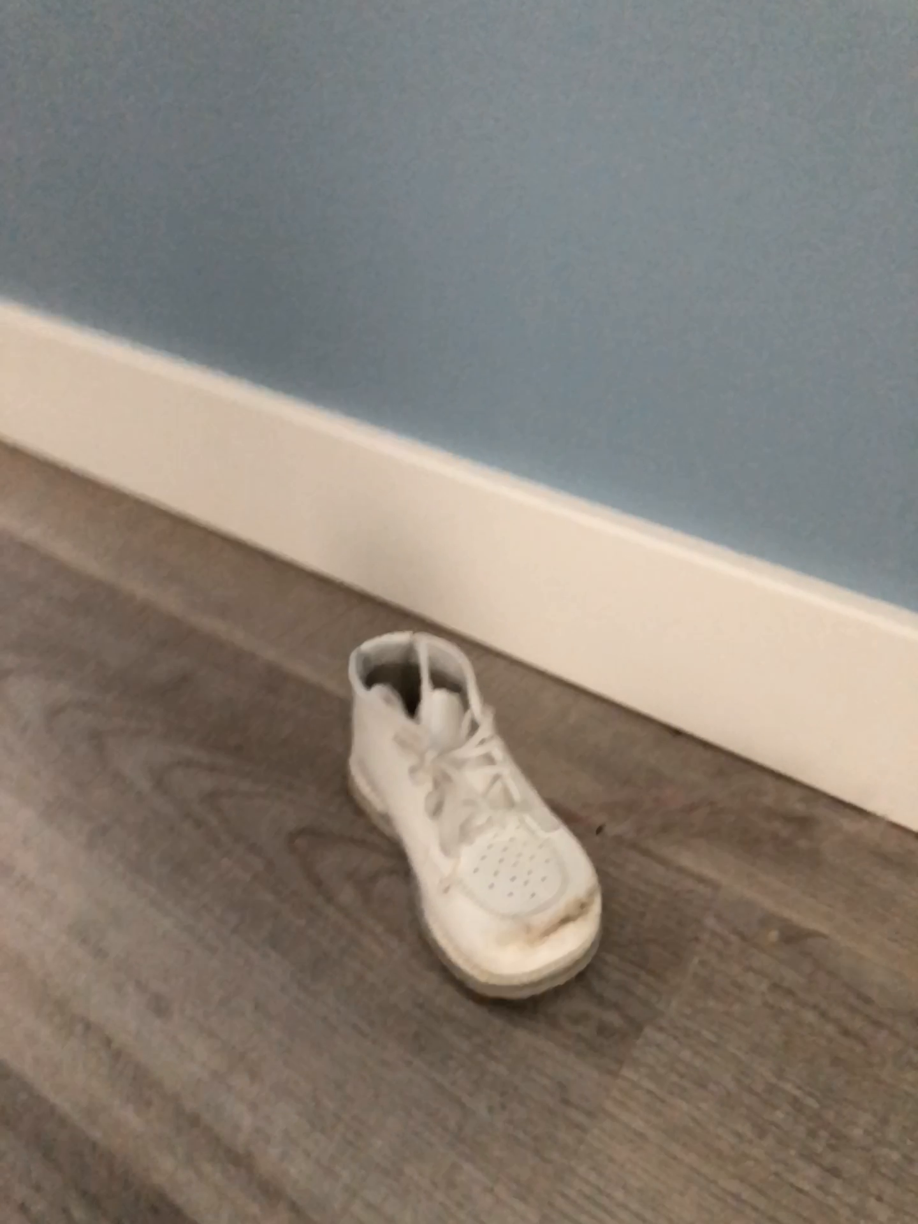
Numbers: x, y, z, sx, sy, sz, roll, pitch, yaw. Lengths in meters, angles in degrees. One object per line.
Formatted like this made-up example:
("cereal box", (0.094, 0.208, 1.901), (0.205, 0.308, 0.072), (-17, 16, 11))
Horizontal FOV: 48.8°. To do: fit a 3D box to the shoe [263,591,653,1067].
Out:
("shoe", (-0.008, 0.064, 0.347), (0.060, 0.060, 0.150), (-18, 40, -24))
